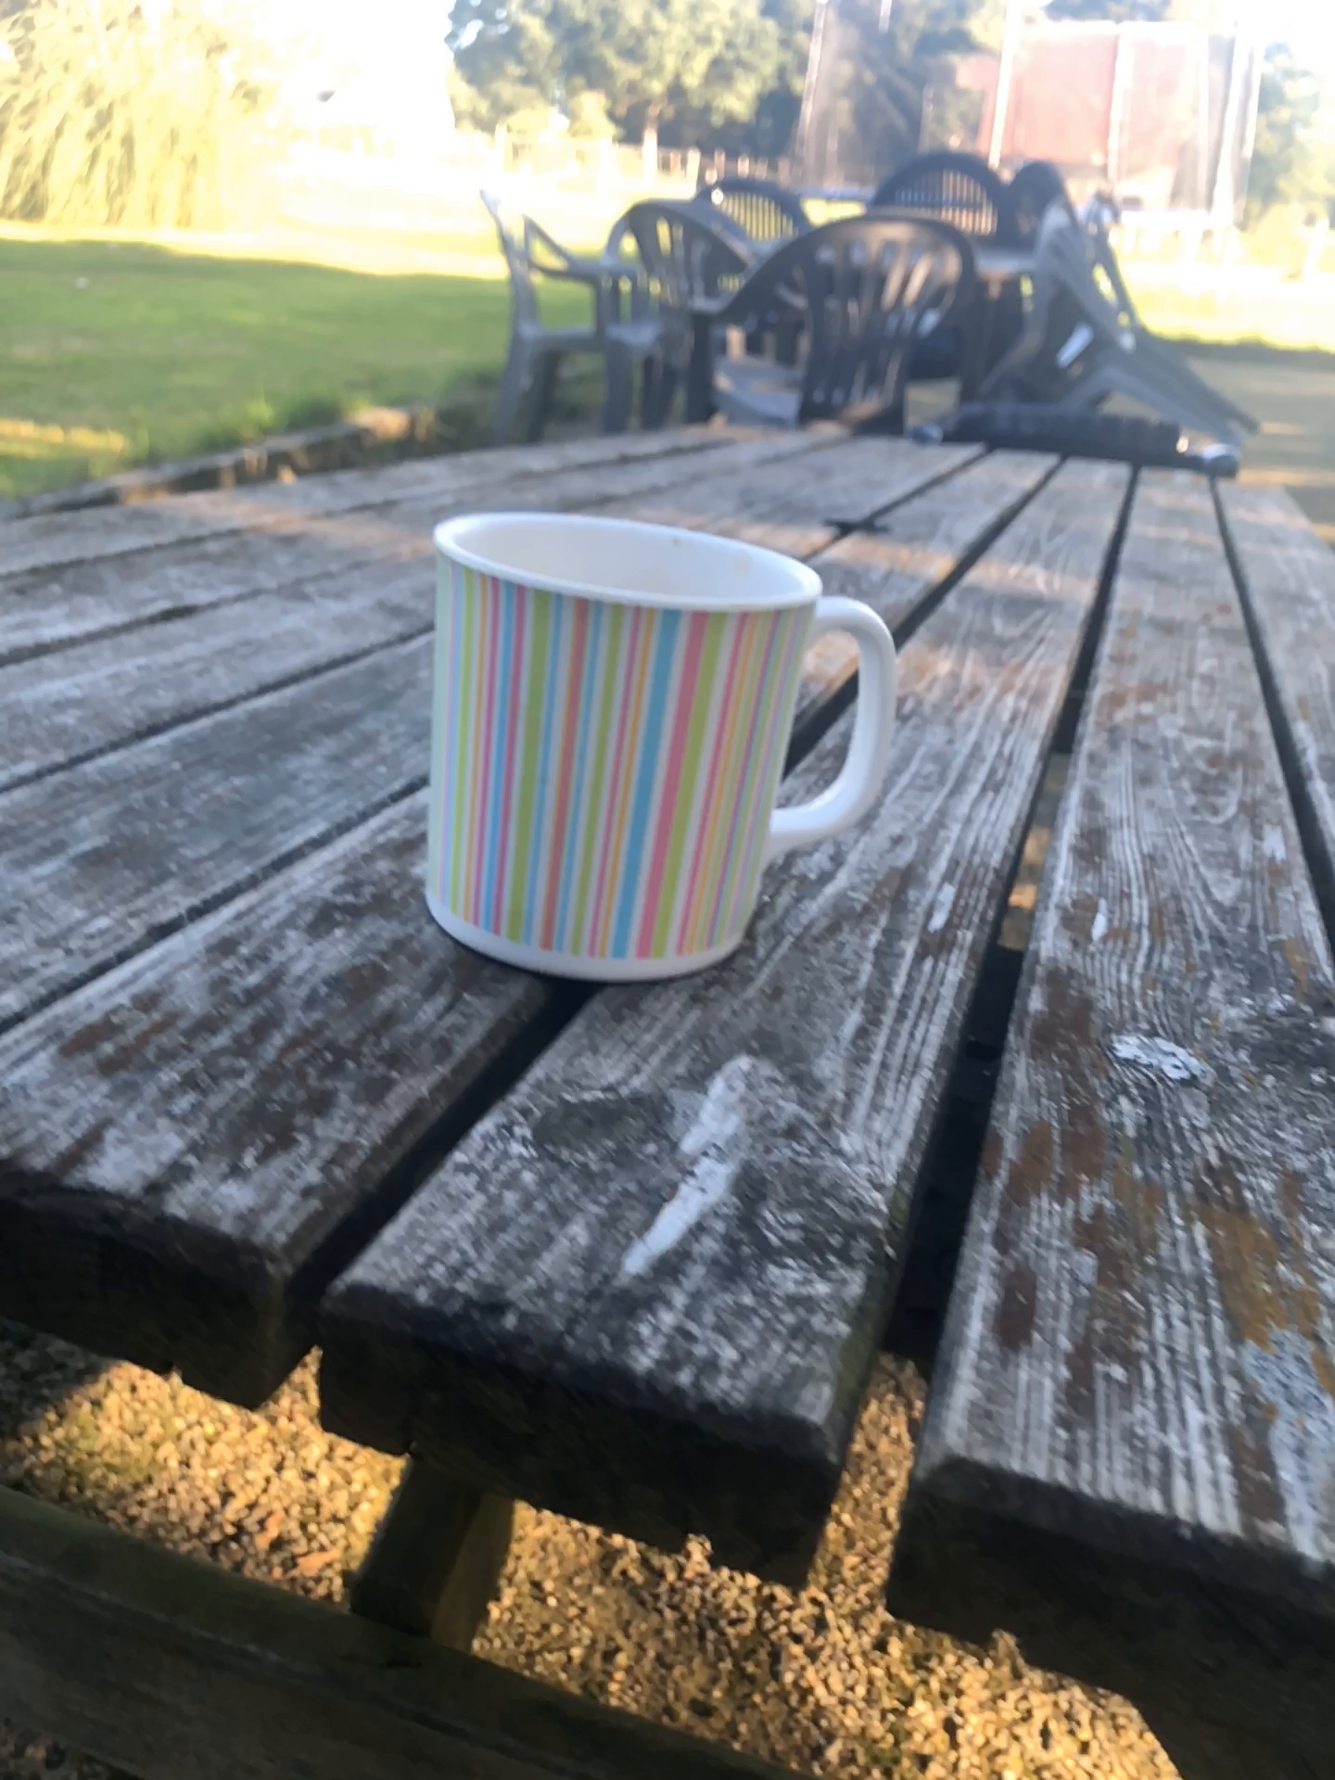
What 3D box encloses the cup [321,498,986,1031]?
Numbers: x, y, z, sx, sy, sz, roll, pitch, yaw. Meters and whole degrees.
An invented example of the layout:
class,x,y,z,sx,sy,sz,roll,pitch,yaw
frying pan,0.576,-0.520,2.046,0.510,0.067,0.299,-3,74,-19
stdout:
class,x,y,z,sx,sy,sz,roll,pitch,yaw
cup,-0.013,-0.034,0.373,0.134,0.096,0.099,0,26,-19
